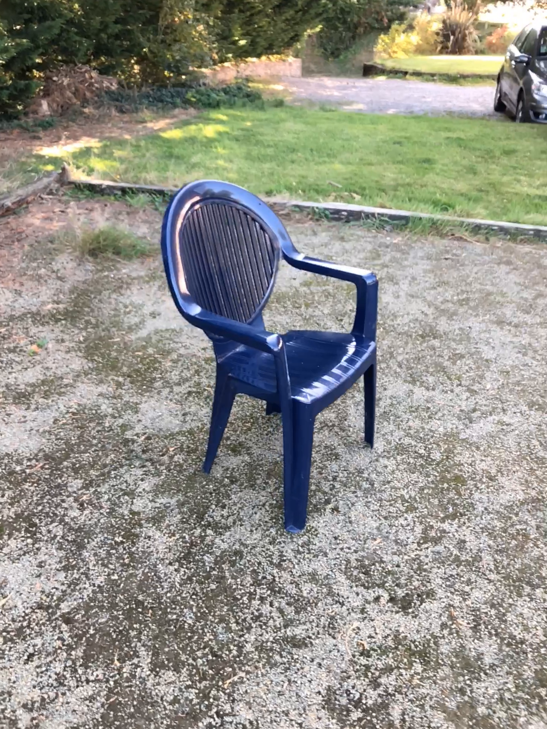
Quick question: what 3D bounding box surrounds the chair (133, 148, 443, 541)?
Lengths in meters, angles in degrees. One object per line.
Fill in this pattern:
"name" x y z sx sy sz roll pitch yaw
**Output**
"chair" 0.050 -0.101 1.747 0.570 0.855 0.594 19 34 26
